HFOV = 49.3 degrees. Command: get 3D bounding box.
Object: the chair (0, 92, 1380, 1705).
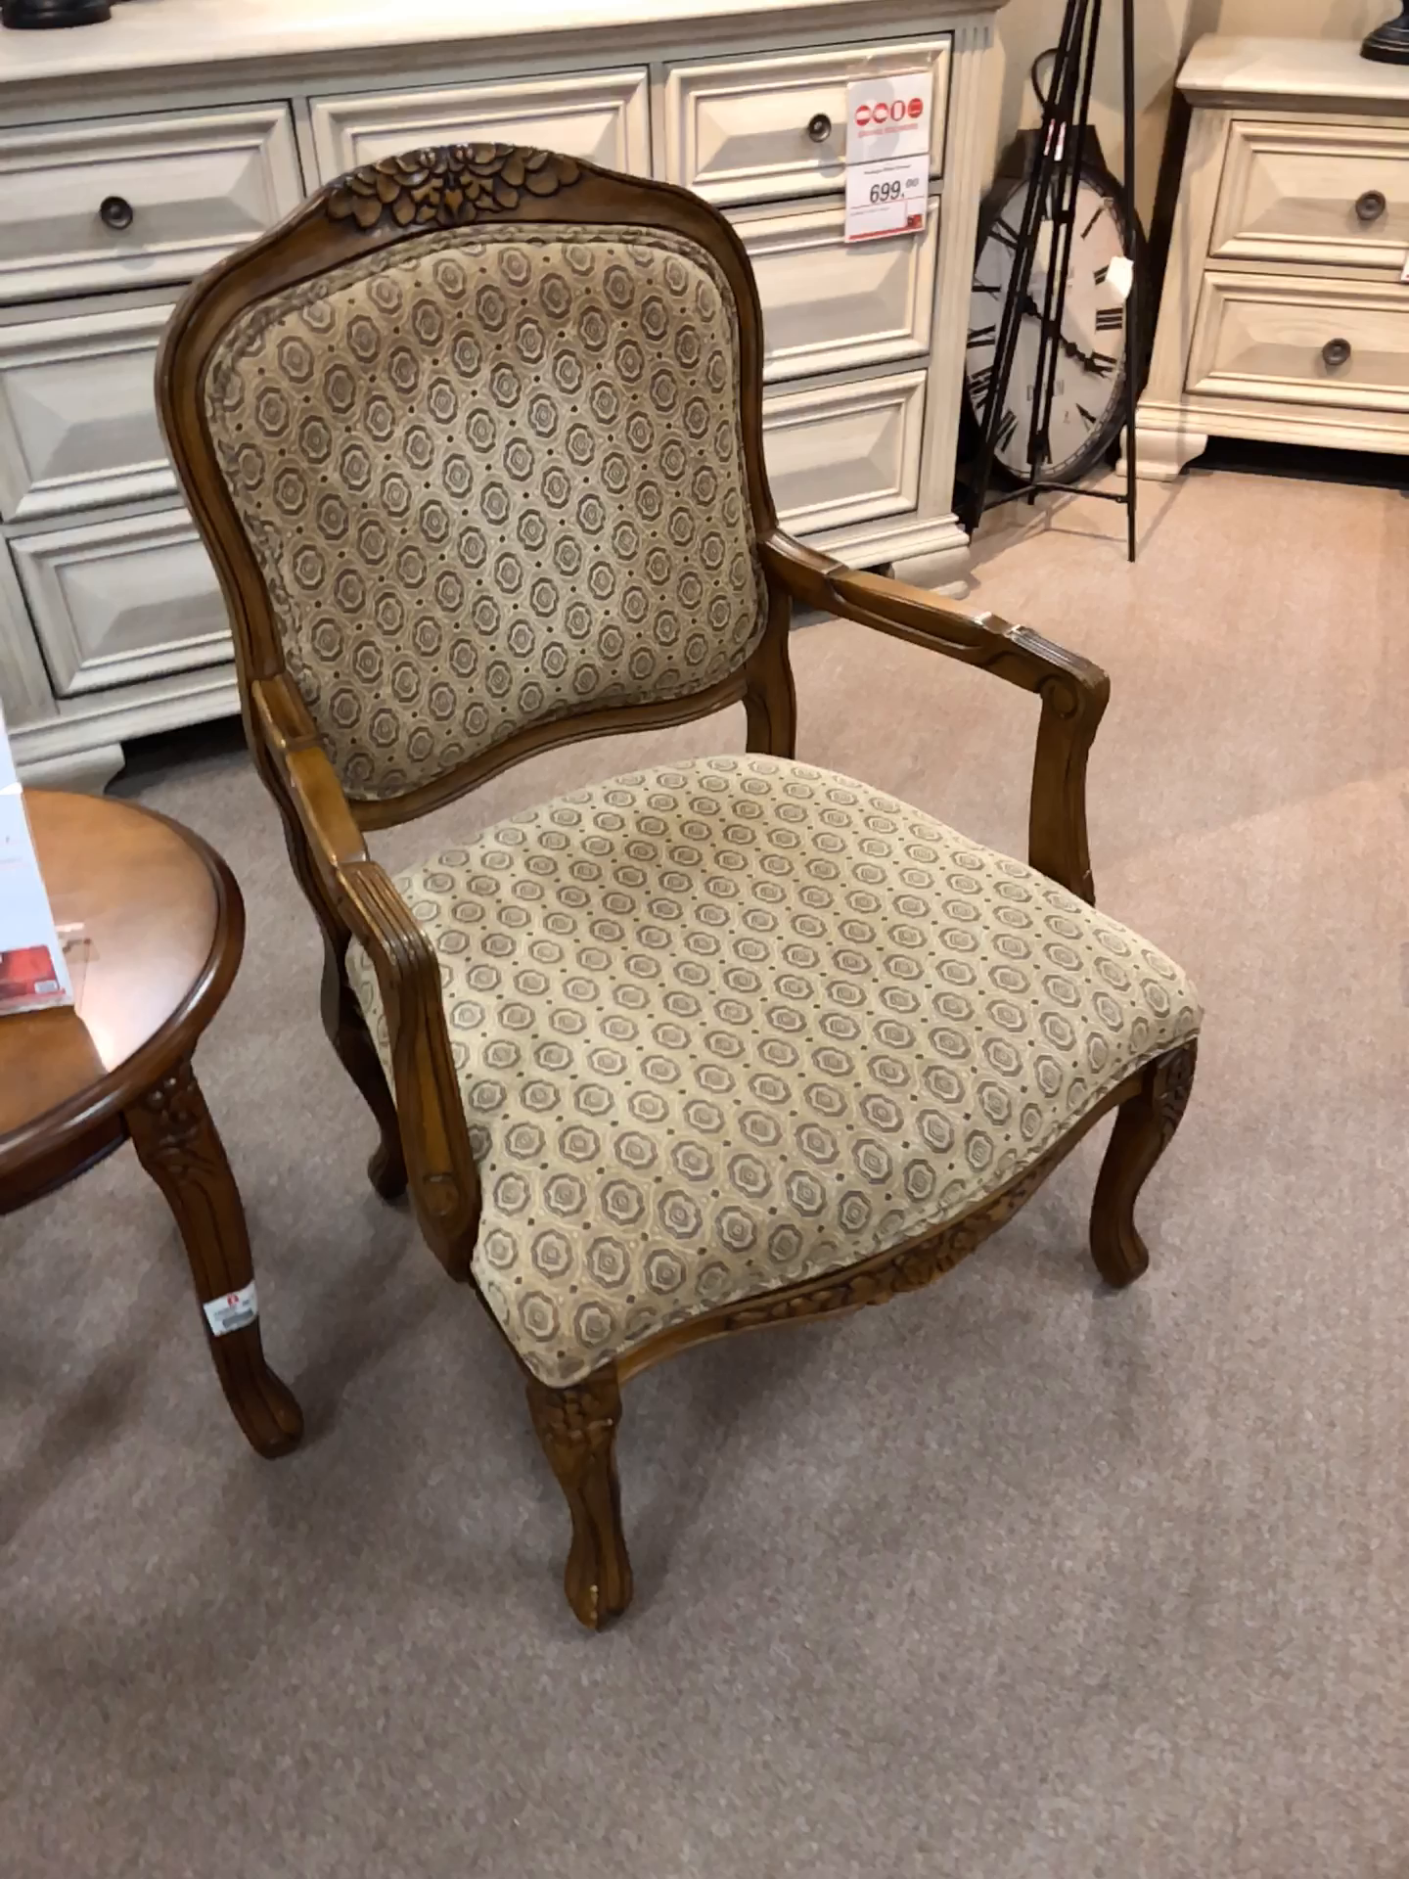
[{"bbox_3d":[-0.070,-0.074,1.398,0.781,1.062,0.704,-23,43,-25],"label":"chair"}]
